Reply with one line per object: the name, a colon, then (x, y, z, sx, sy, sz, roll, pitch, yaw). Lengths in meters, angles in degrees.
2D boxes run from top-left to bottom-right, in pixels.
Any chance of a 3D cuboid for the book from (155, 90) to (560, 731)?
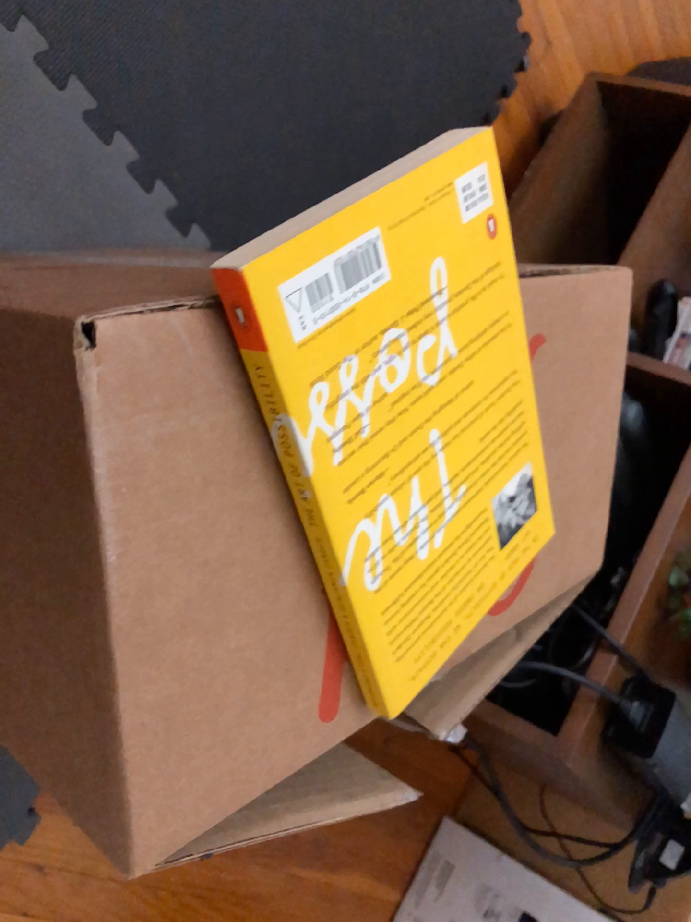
book: (0.028, -0.017, 0.314, 0.151, 0.020, 0.210, -40, 127, -32)
